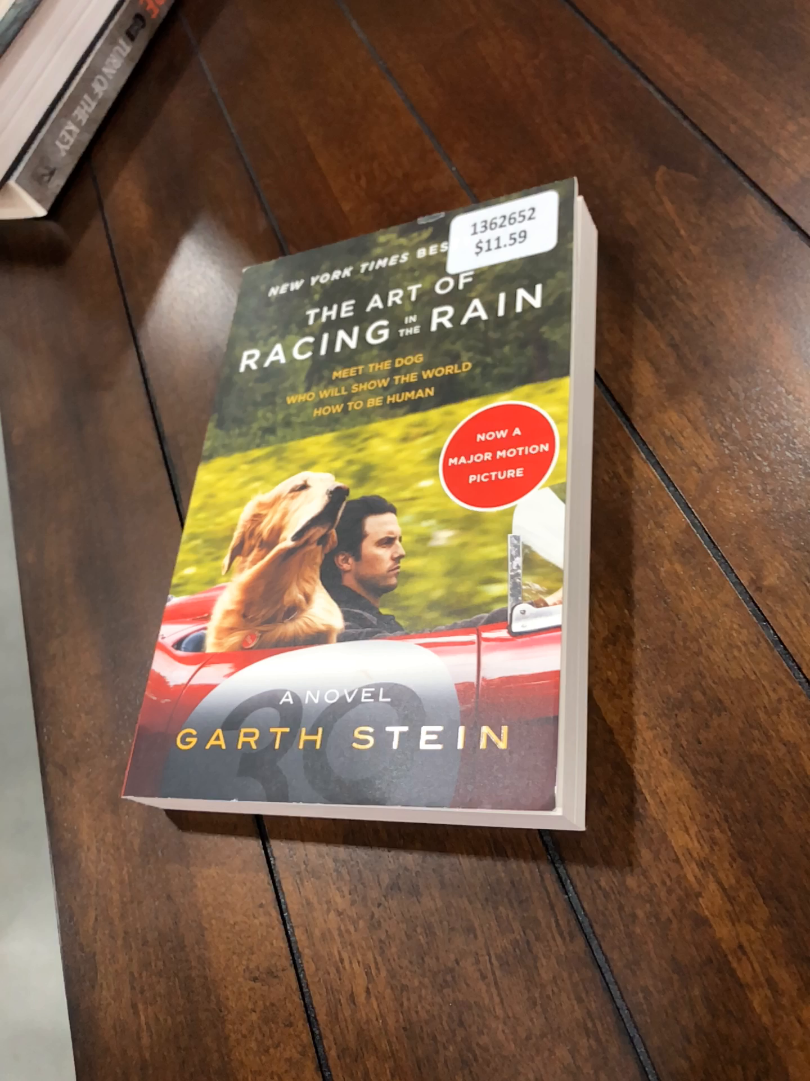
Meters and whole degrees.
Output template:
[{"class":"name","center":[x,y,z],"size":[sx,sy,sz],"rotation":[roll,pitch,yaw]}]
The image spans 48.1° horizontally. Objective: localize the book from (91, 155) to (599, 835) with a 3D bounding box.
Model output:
[{"class":"book","center":[-0.012,-0.019,0.292],"size":[0.140,0.028,0.210],"rotation":[-6,61,25]}]
